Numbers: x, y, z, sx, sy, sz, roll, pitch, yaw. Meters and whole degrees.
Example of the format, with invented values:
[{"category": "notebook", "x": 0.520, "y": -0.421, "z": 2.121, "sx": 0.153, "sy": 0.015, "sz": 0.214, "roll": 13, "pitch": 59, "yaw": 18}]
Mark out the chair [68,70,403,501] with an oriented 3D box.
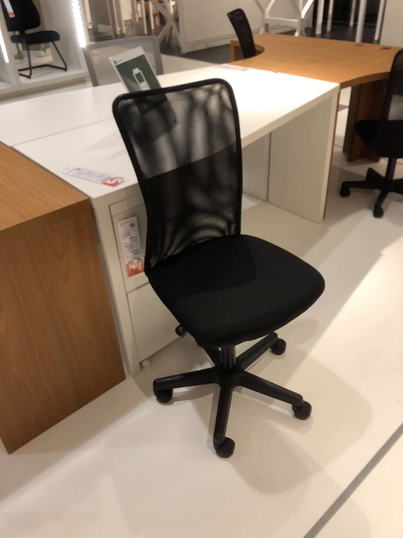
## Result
[{"category": "chair", "x": 0.085, "y": 0.019, "z": 1.260, "sx": 0.561, "sy": 0.923, "sz": 0.573, "roll": -22, "pitch": 39, "yaw": -24}]
